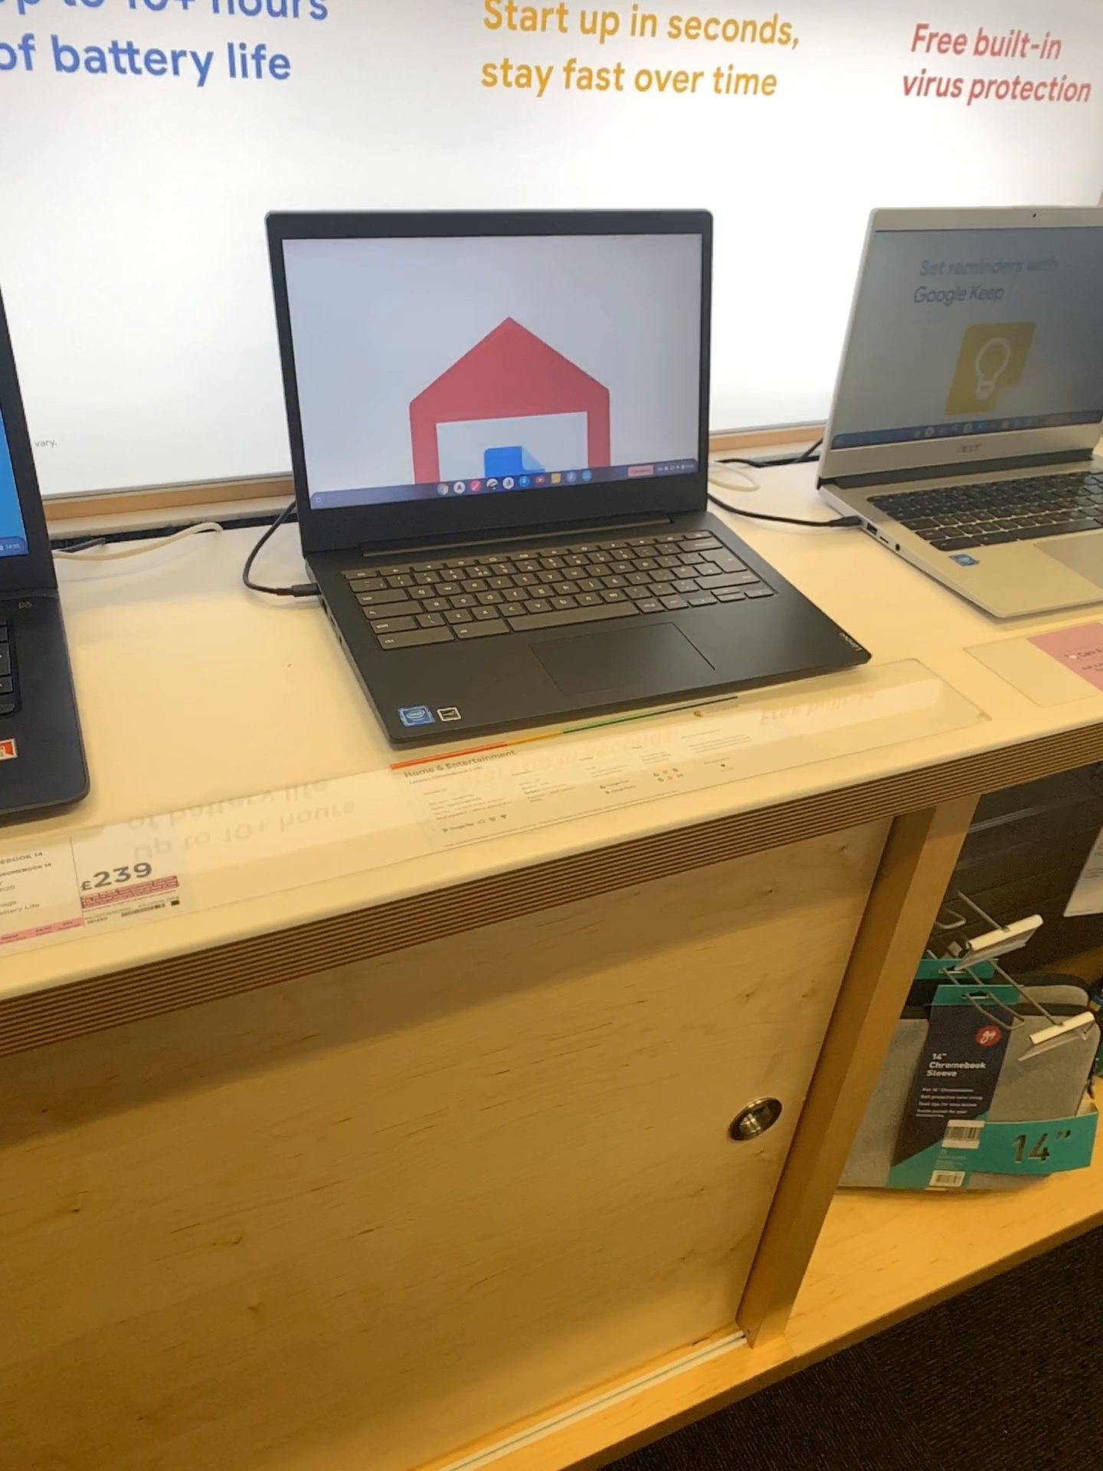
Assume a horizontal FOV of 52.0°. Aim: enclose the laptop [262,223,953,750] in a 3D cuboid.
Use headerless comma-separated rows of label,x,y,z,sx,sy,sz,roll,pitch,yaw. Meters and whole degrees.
laptop,0.011,-0.181,0.716,0.316,0.201,0.282,-10,39,-20
